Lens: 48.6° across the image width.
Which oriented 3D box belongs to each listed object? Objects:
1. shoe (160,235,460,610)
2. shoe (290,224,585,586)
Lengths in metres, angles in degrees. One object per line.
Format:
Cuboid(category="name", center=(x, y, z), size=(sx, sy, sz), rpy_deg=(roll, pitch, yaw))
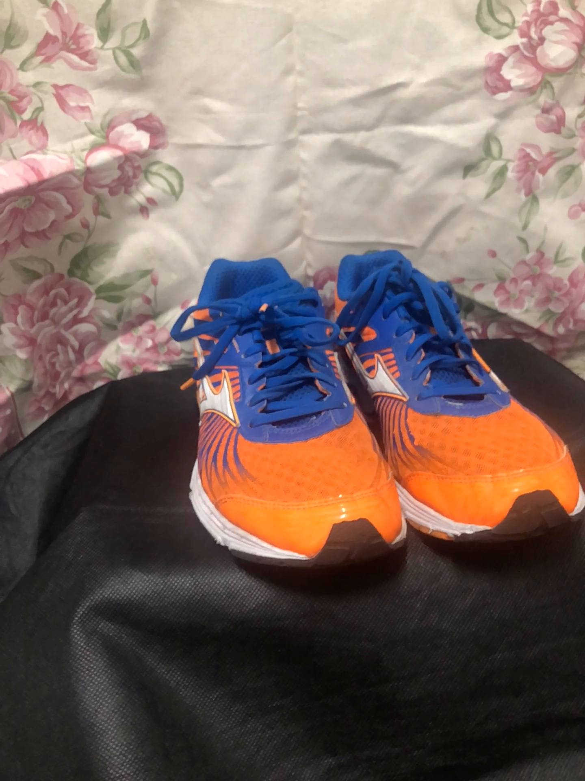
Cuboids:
Cuboid(category="shoe", center=(-0.010, -0.006, 0.368), size=(0.110, 0.109, 0.222), rpy_deg=(-7, 26, -11))
Cuboid(category="shoe", center=(0.077, -0.015, 0.372), size=(0.110, 0.109, 0.222), rpy_deg=(-7, 26, -11))
